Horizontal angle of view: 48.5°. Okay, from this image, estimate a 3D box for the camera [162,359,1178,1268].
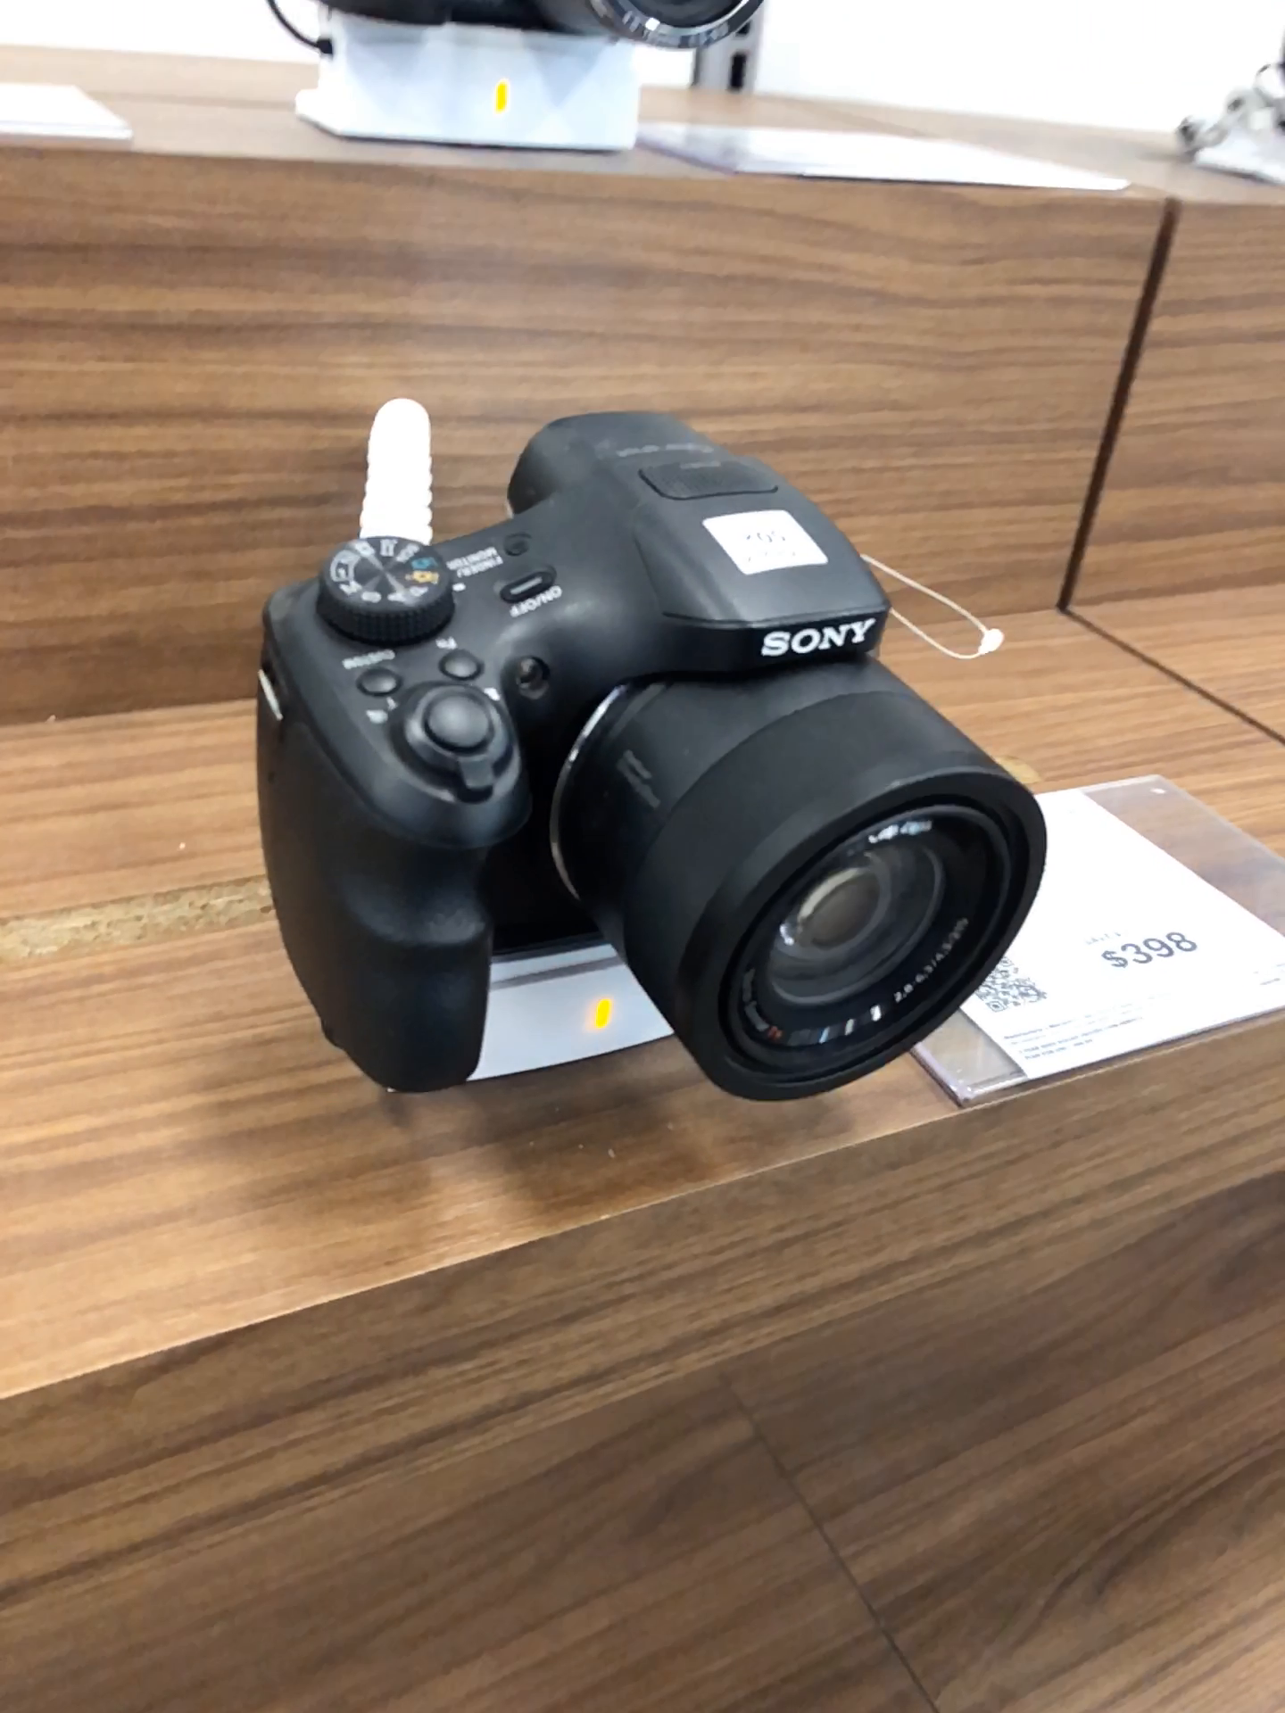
[{"bbox_3d":[-0.008,-0.024,0.281,0.130,0.100,0.140,-11,39,-27],"label":"camera"}]
